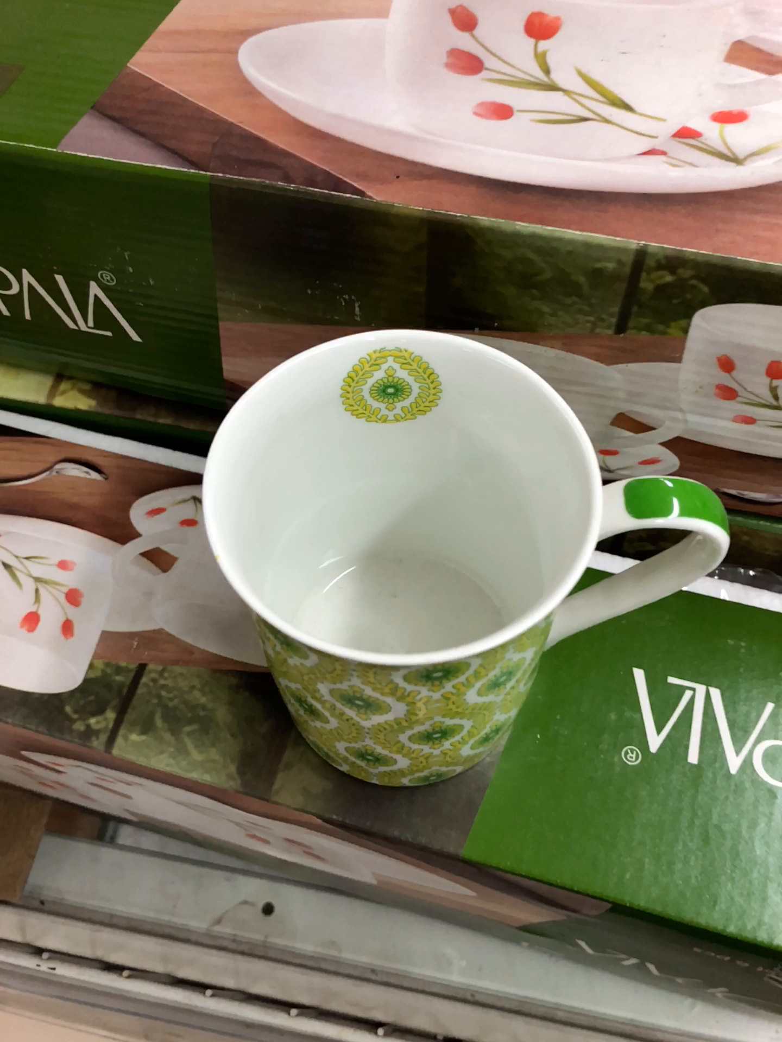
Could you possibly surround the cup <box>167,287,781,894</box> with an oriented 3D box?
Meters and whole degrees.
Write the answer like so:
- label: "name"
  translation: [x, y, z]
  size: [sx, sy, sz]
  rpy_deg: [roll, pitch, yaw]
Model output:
- label: "cup"
  translation: [0.019, 0.018, 0.194]
  size: [0.110, 0.090, 0.080]
  rpy_deg: [-11, 57, -7]
